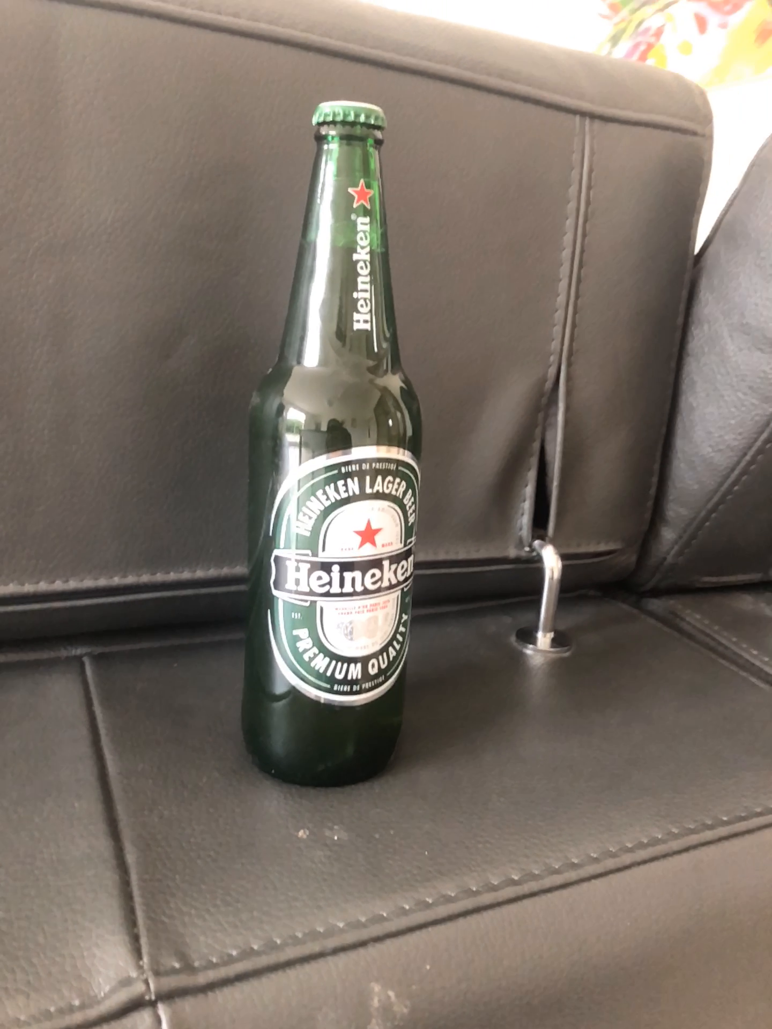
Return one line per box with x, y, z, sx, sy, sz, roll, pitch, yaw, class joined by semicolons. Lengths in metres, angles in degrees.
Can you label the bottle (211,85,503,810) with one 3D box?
-0.021;-0.023;0.363;0.080;0.269;0.080;4;15;-1;bottle
